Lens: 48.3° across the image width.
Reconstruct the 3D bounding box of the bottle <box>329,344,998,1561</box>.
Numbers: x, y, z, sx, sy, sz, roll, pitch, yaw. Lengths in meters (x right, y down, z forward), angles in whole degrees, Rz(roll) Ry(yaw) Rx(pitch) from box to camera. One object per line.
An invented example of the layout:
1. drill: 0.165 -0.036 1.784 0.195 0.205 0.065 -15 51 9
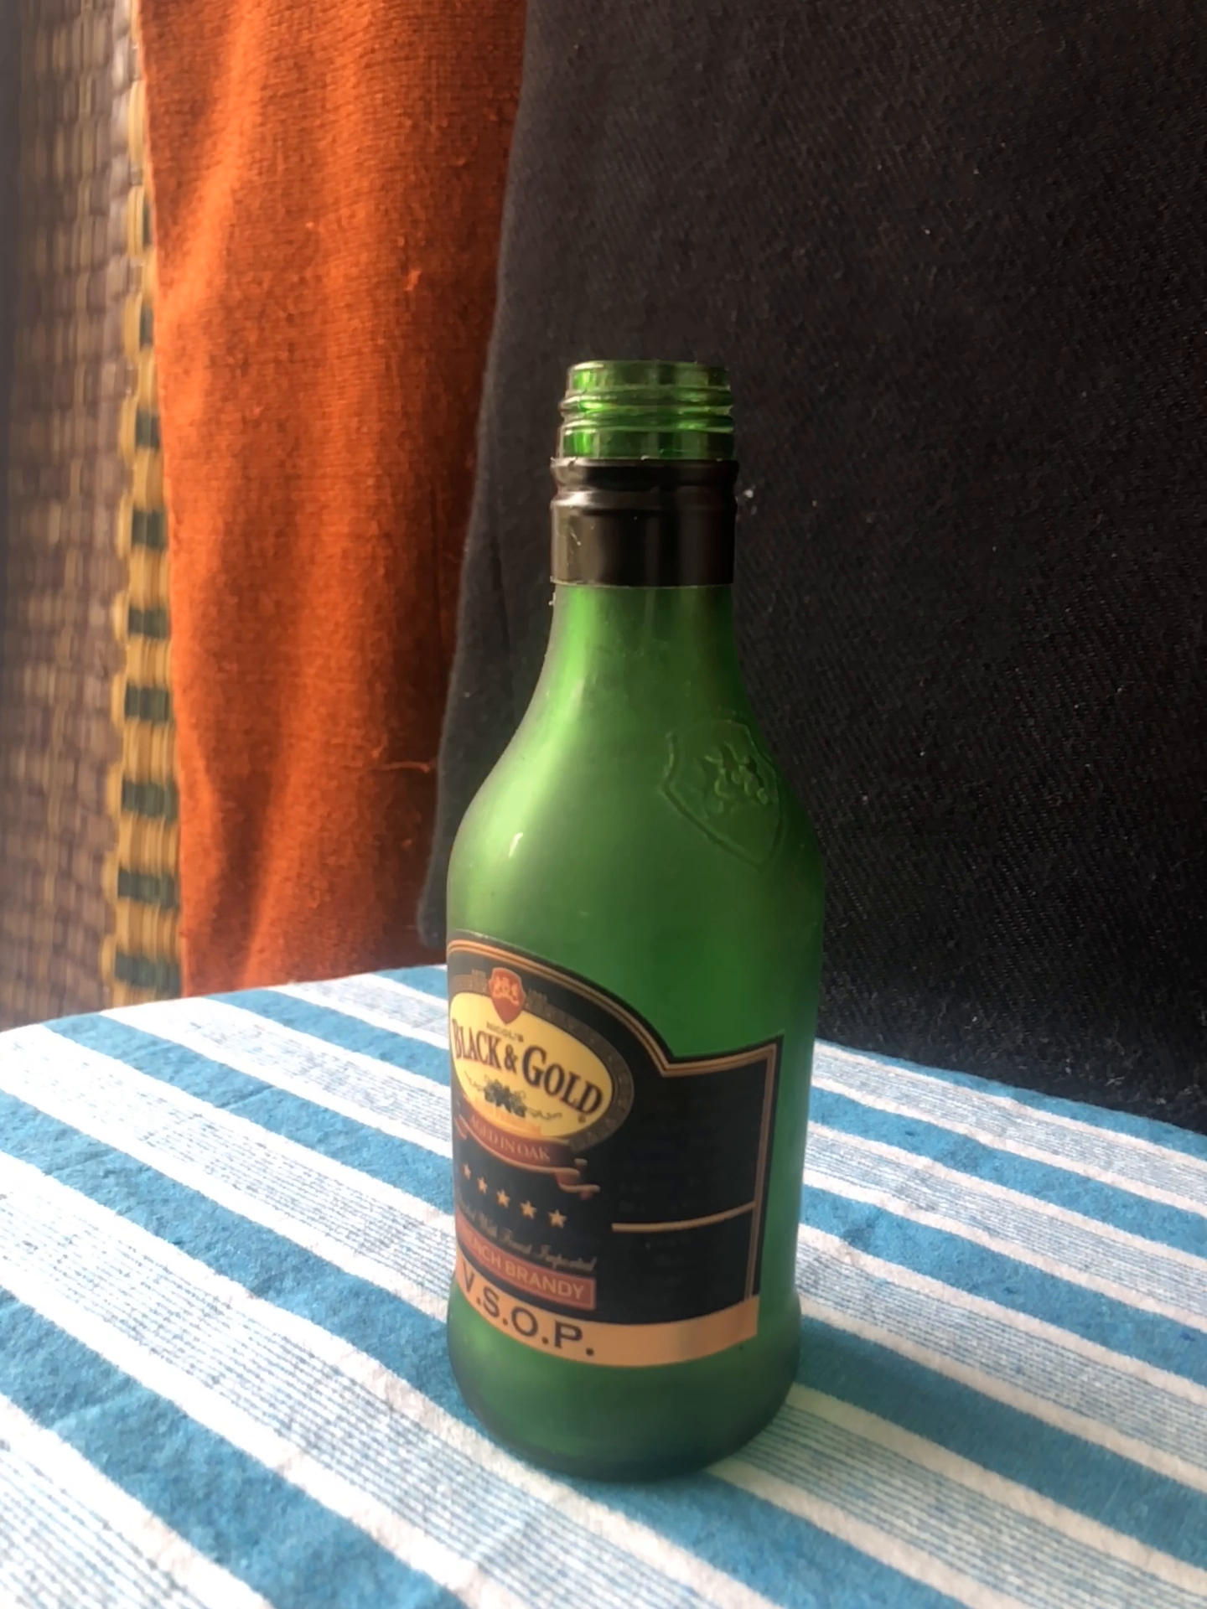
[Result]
1. bottle: 0.006 0.013 0.186 0.060 0.140 0.060 3 15 -1
